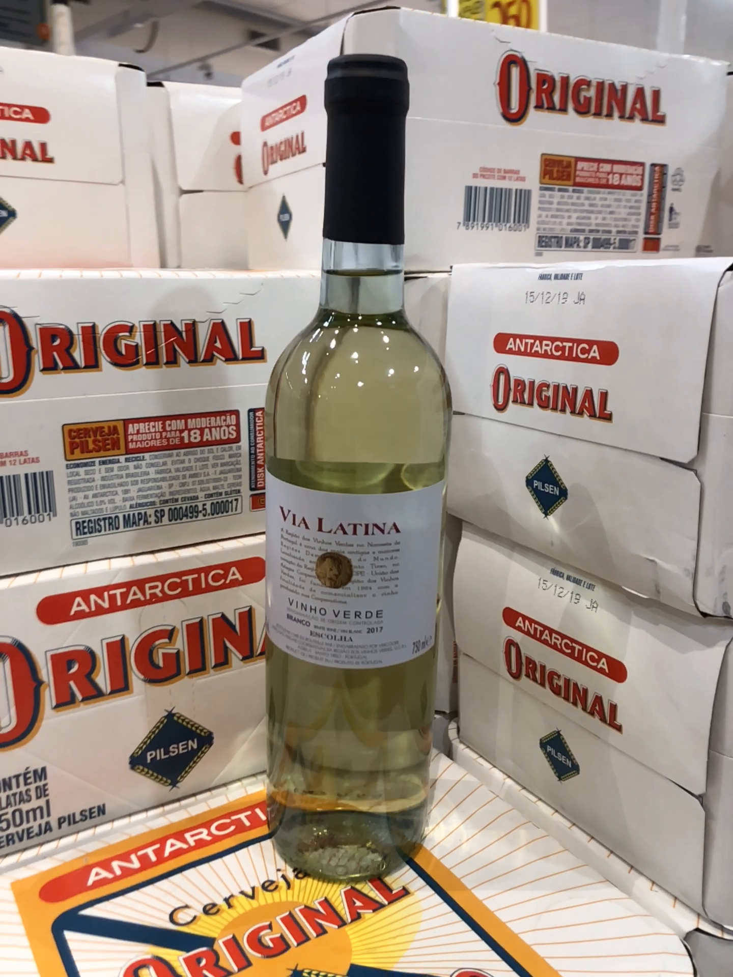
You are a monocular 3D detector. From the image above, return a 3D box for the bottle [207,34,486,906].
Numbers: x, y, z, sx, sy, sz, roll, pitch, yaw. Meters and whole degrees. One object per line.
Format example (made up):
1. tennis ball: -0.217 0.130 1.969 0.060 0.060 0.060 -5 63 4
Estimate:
1. bottle: -0.007 0.001 0.325 0.080 0.309 0.070 6 15 18
